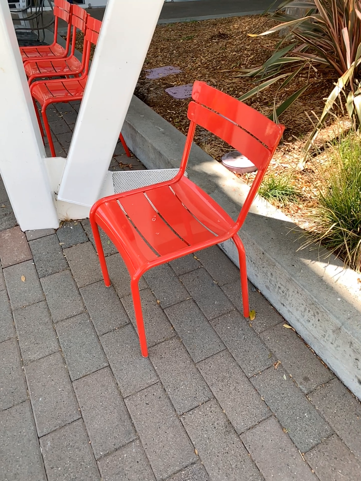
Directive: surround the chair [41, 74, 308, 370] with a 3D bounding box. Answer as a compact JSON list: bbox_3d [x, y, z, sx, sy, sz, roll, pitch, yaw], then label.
[{"bbox_3d":[-0.051,-0.096,1.392,0.630,0.785,0.583,-19,43,-22],"label":"chair"}]
